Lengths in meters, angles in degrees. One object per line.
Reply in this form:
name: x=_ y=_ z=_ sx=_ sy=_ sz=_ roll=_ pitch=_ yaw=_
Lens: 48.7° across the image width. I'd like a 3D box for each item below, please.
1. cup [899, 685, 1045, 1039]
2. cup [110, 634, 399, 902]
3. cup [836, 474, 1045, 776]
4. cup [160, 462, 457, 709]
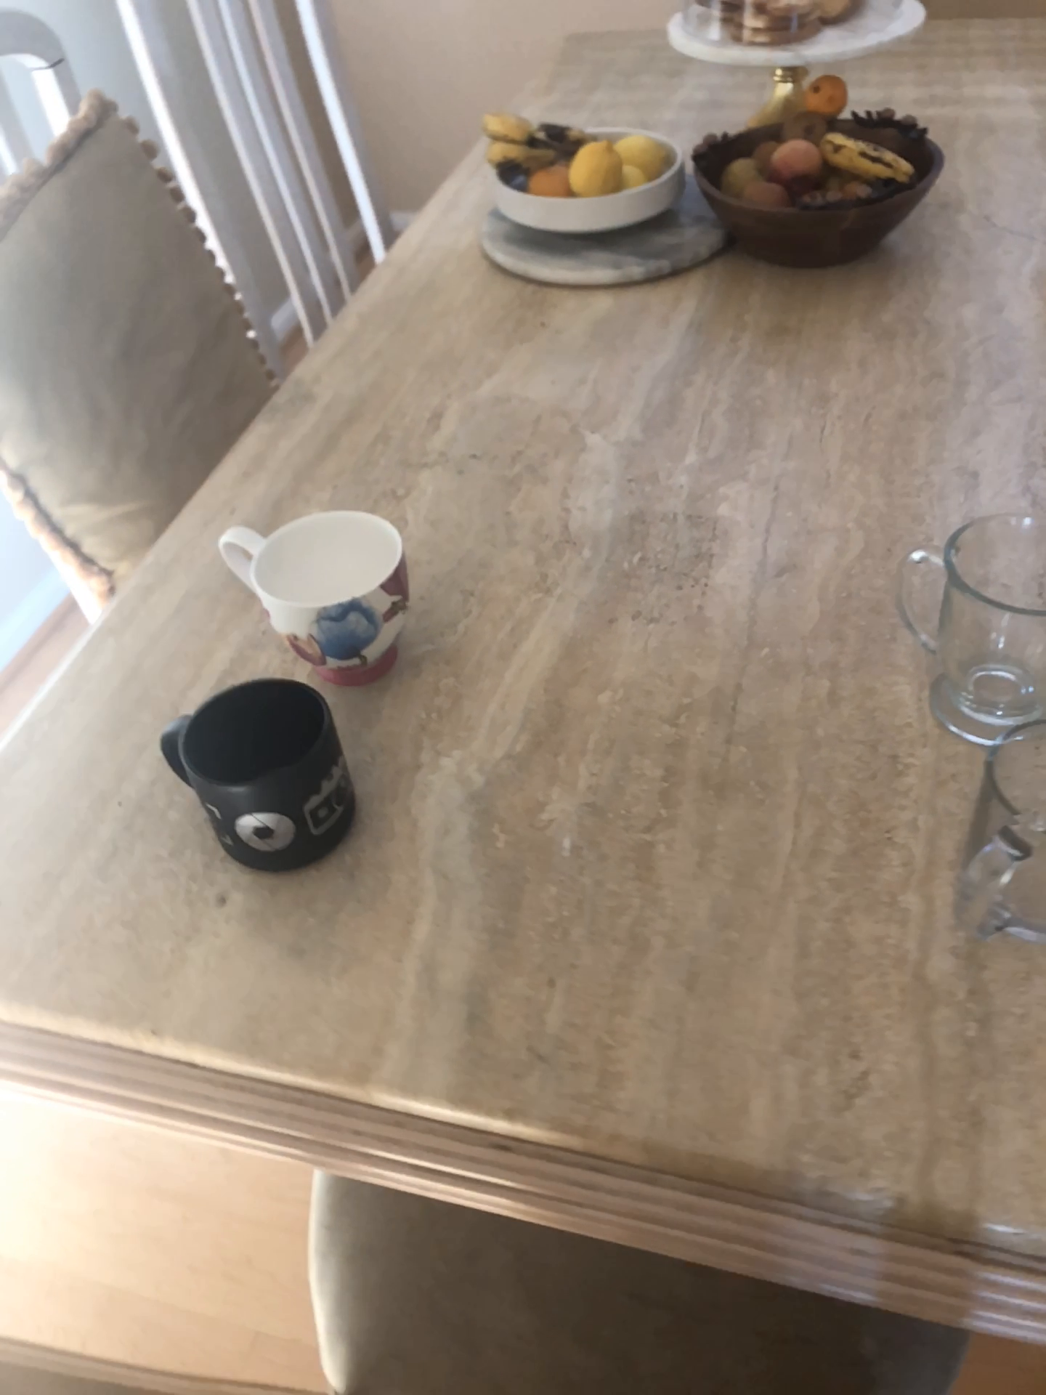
cup: x=0.287 y=0.087 z=0.634 sx=0.090 sy=0.109 sz=0.131 roll=30 pitch=55 yaw=33
cup: x=-0.168 y=0.044 z=0.743 sx=0.130 sy=0.109 sz=0.091 roll=16 pitch=49 yaw=23
cup: x=0.296 y=-0.050 z=0.734 sx=0.150 sy=0.109 sz=0.111 roll=21 pitch=51 yaw=27
cup: x=-0.153 y=-0.085 z=0.841 sx=0.170 sy=0.099 sz=0.101 roll=19 pitch=50 yaw=26
